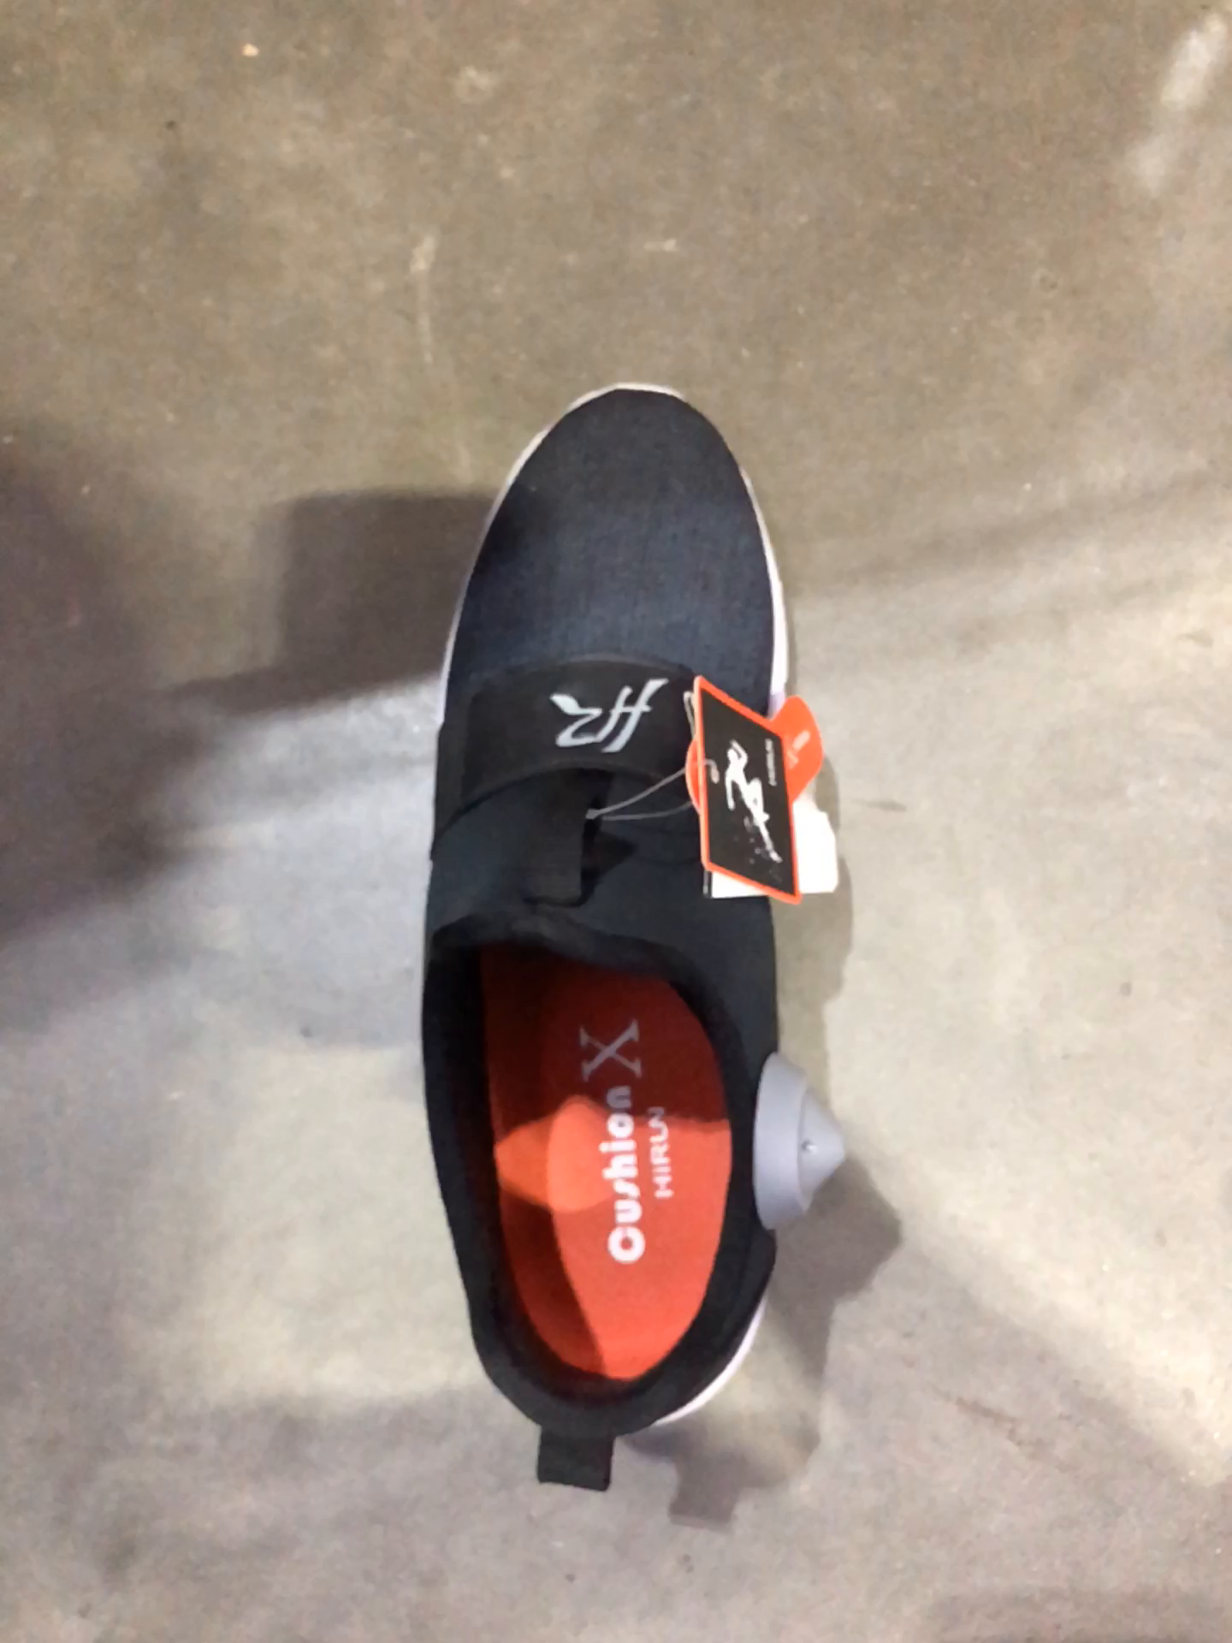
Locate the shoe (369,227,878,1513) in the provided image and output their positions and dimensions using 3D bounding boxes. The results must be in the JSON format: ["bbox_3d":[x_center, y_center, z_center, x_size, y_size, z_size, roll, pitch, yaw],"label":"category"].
[{"bbox_3d":[0.008,0.010,0.355,0.100,0.130,0.270,0,81,5],"label":"shoe"}]
